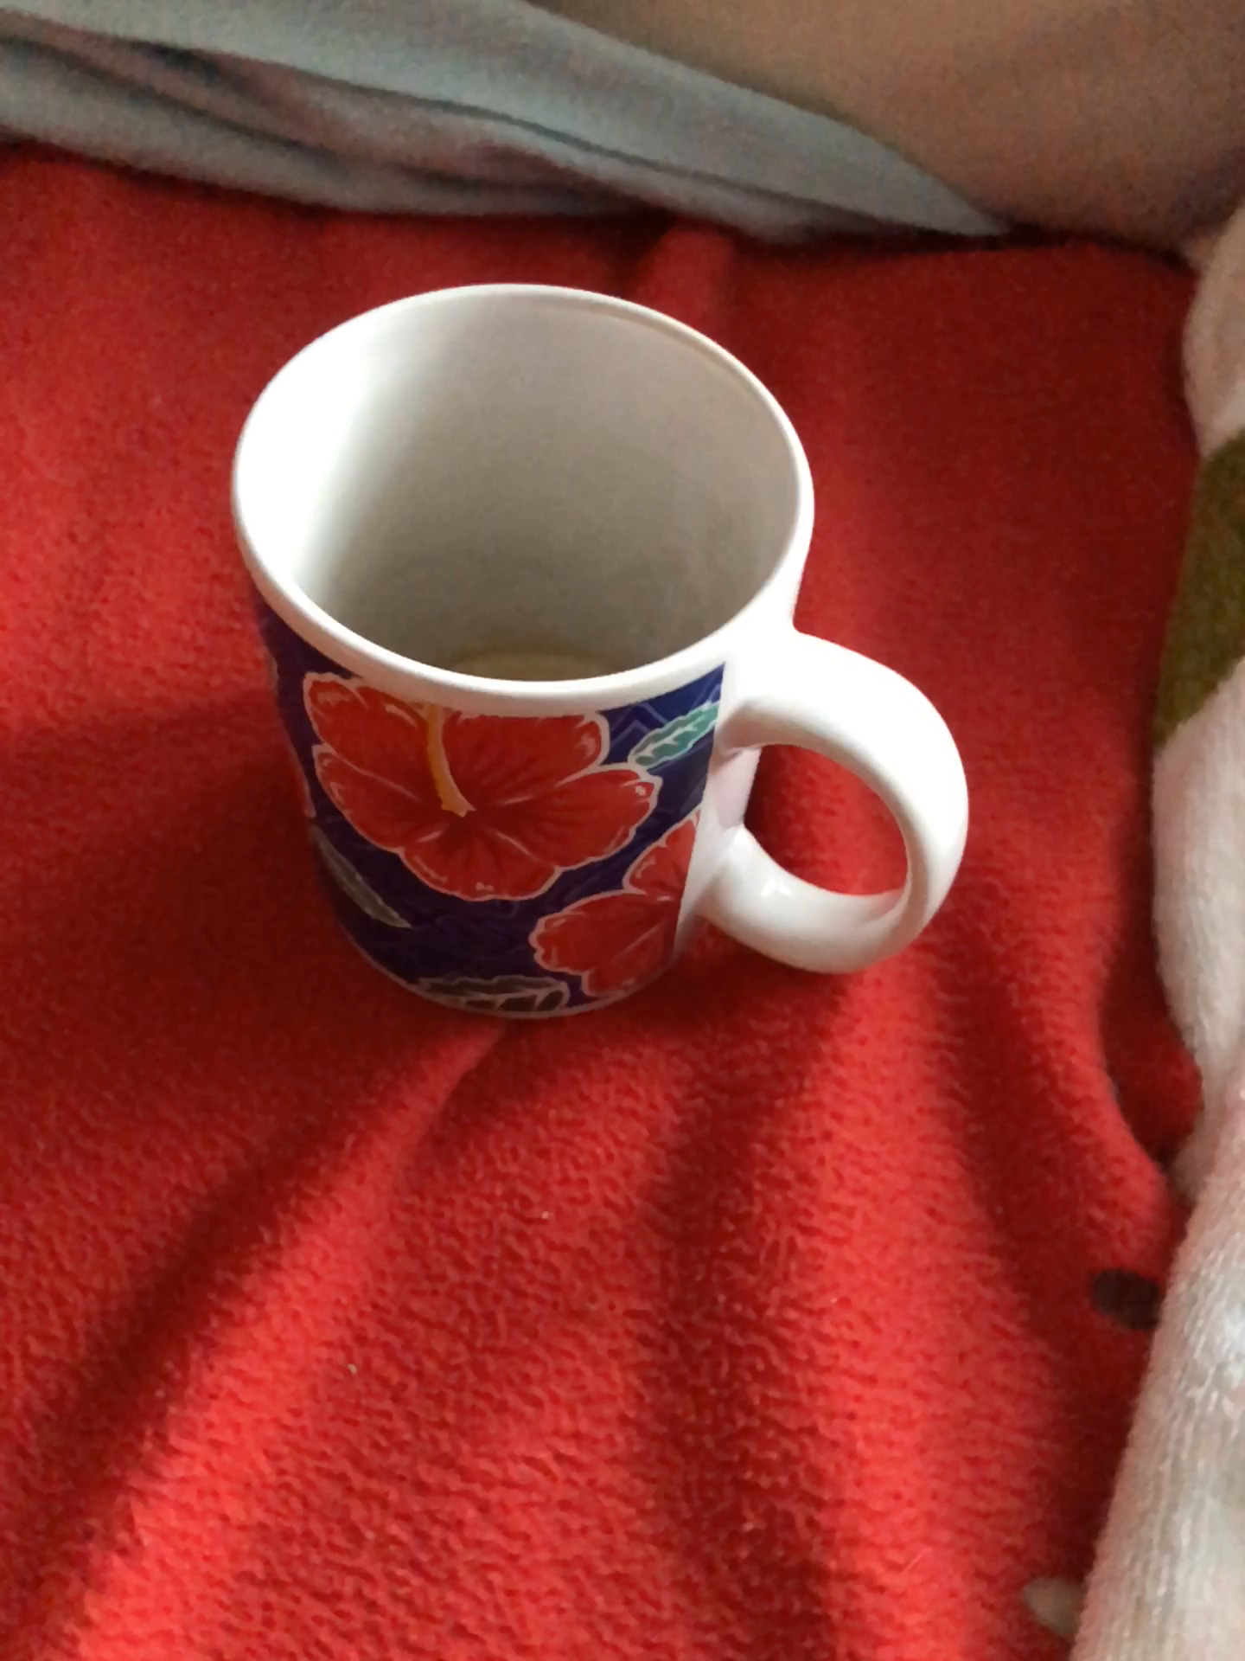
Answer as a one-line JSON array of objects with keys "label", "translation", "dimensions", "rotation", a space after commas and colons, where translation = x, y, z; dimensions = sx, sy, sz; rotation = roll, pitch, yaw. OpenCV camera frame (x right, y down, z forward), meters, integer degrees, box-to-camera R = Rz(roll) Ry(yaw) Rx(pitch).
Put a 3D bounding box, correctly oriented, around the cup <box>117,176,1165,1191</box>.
[{"label": "cup", "translation": [0.003, -0.021, 0.230], "dimensions": [0.120, 0.100, 0.090], "rotation": [21, 56, 6]}]
